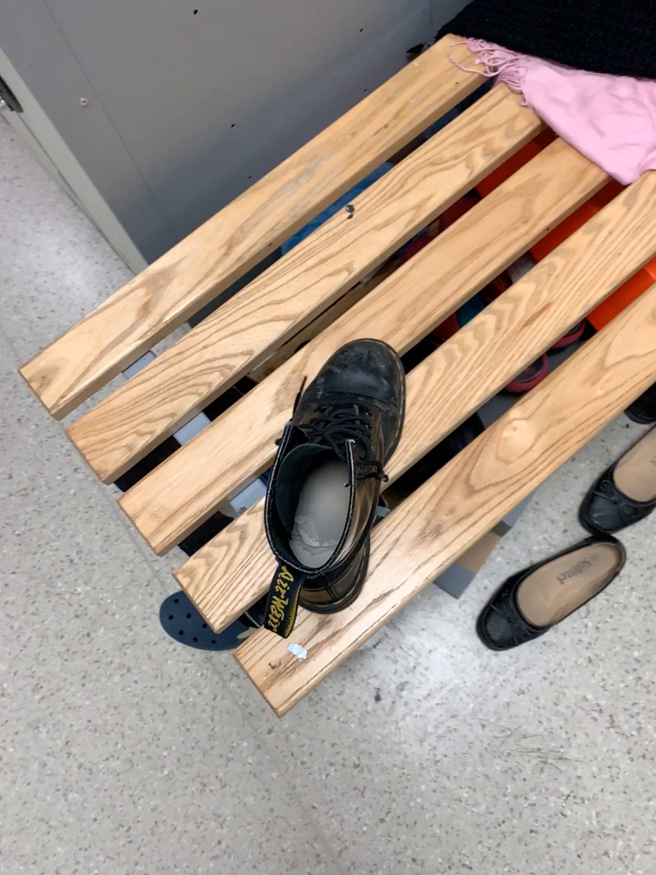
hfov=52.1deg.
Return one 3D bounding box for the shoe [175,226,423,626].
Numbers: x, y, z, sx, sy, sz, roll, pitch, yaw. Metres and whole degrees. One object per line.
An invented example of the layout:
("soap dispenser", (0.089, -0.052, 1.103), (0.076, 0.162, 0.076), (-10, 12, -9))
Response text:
("shoe", (-0.004, 0.005, 0.547), (0.107, 0.199, 0.261), (11, 74, 10))
